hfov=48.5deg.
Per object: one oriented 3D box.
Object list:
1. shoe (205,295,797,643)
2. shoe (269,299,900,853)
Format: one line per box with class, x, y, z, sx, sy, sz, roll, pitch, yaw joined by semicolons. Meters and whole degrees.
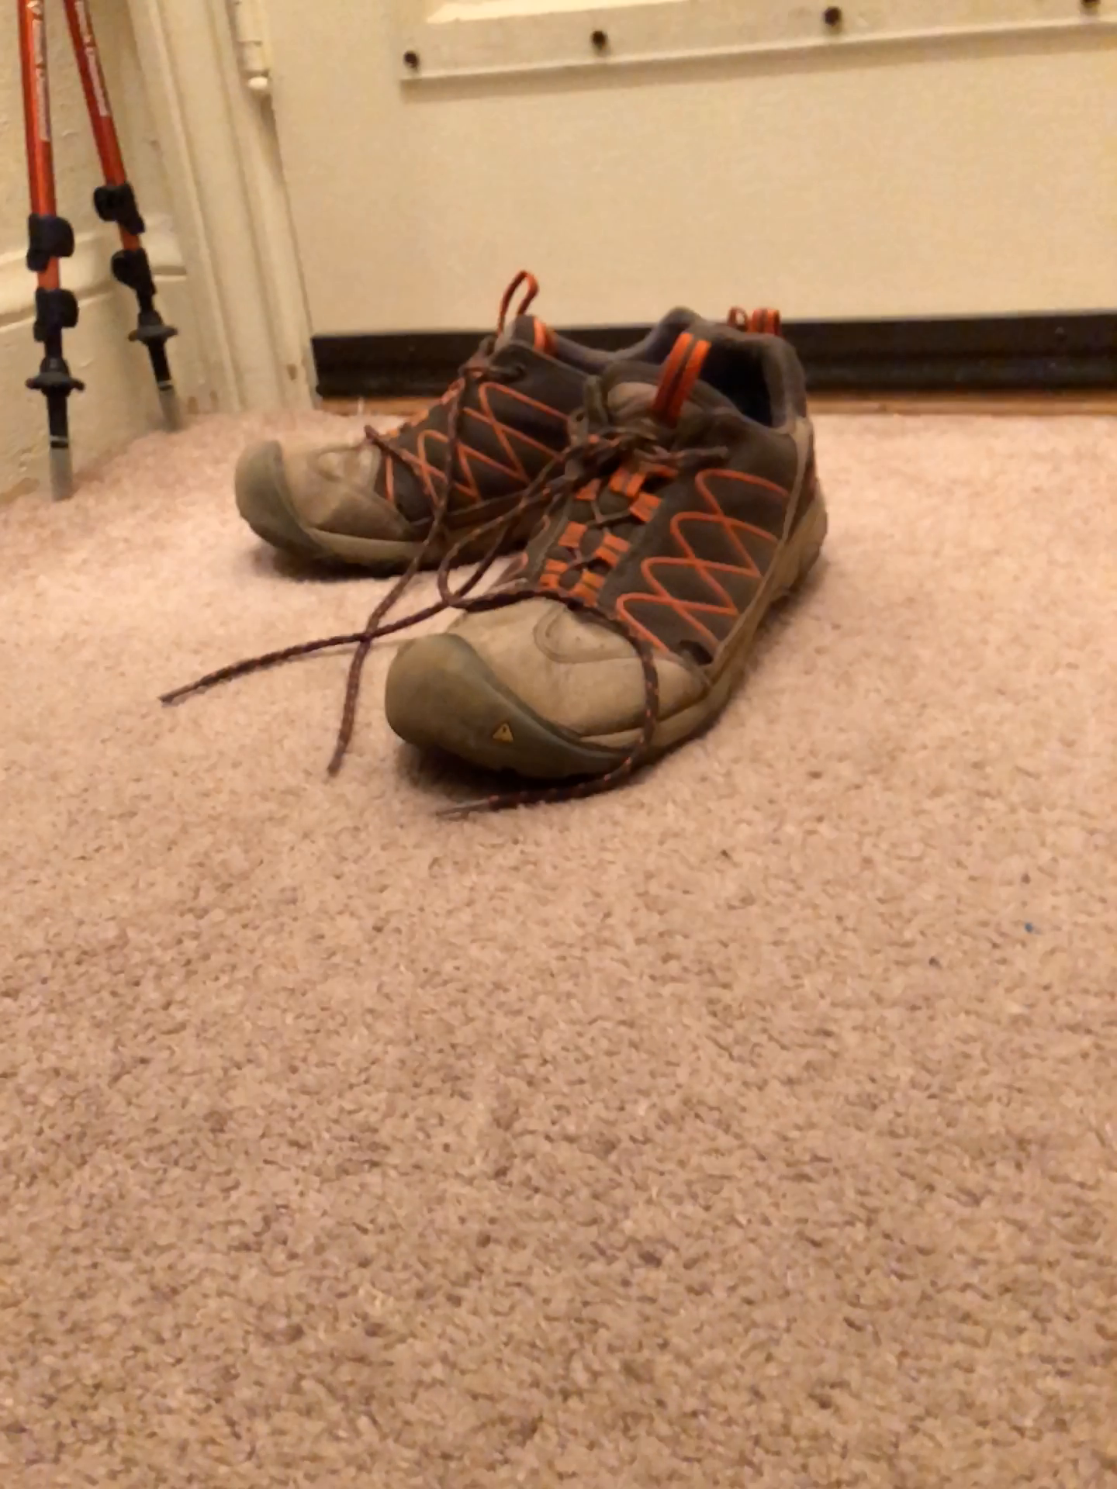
shoe;-0.029;-0.161;0.705;0.300;0.129;0.121;-8;30;-4
shoe;0.030;-0.093;0.529;0.120;0.129;0.271;16;36;33
